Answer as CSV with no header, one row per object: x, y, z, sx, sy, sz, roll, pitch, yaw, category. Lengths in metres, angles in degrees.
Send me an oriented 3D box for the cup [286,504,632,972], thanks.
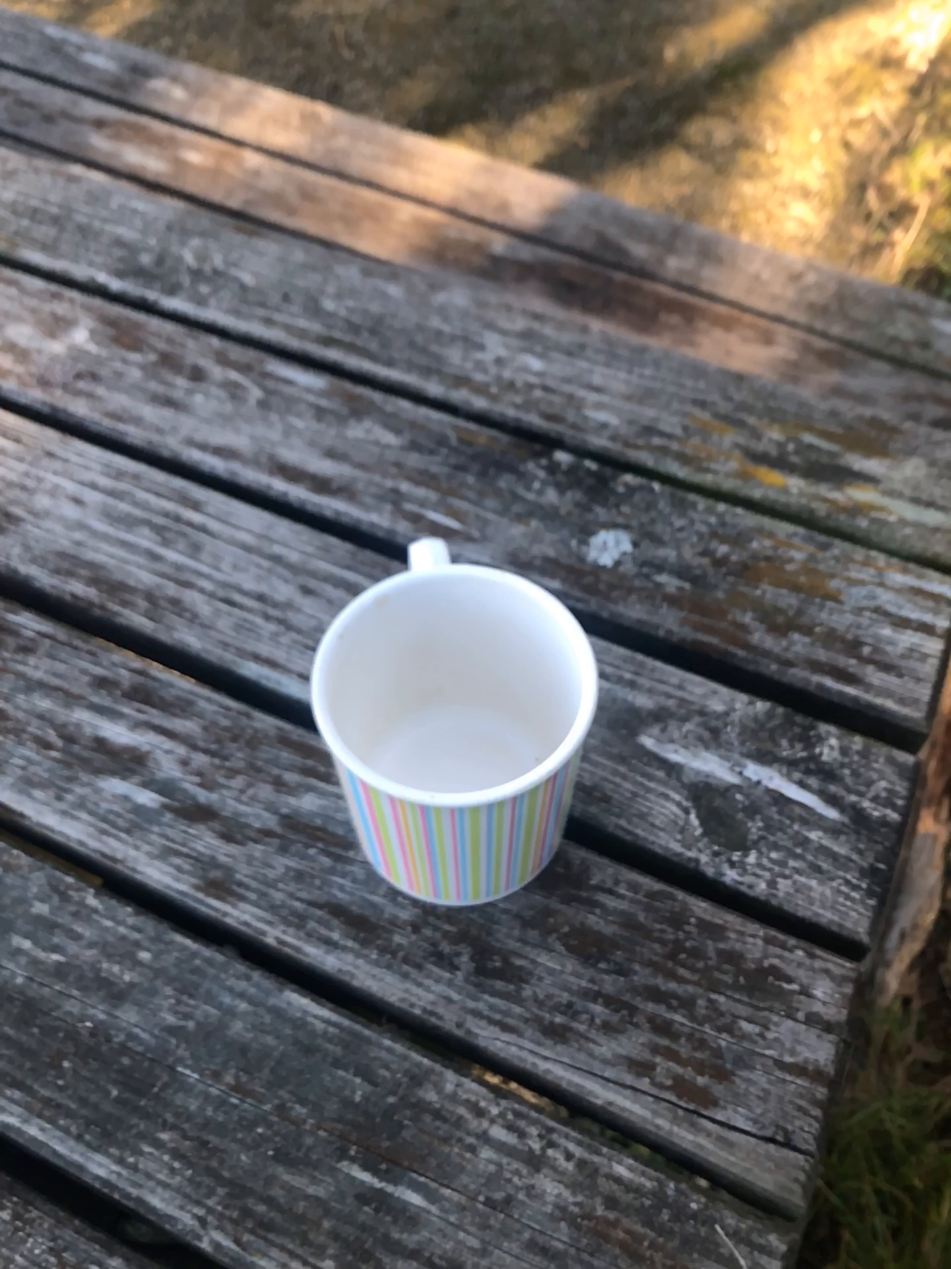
-0.013,0.037,0.397,0.098,0.096,0.134,-6,55,-7,cup
